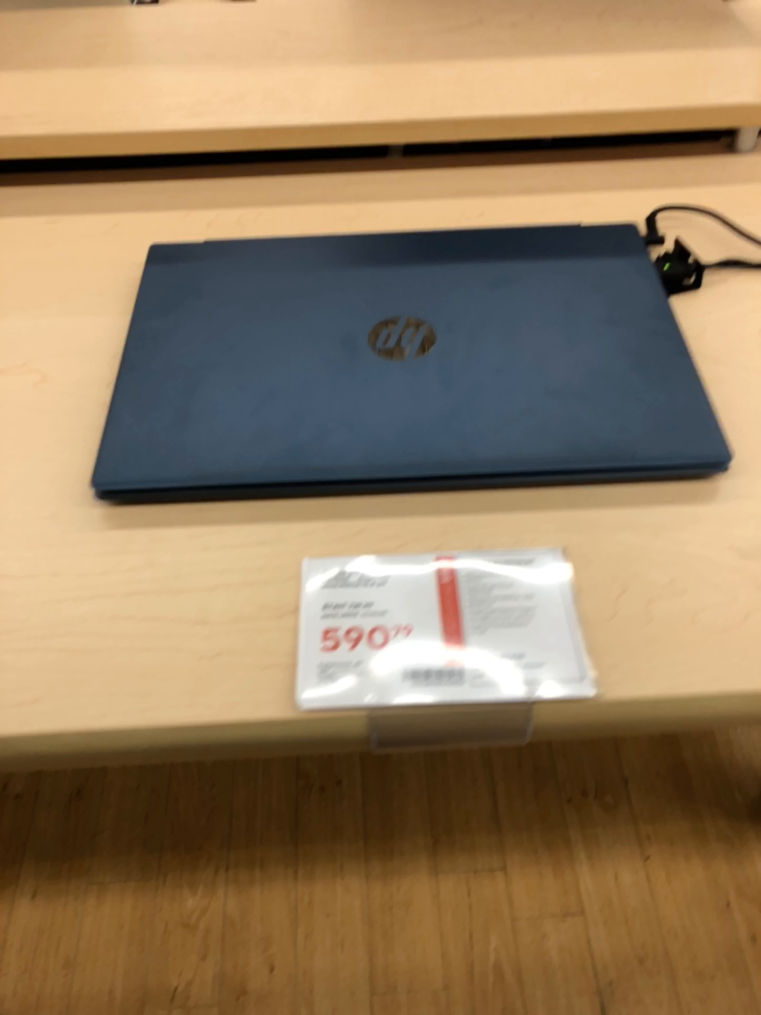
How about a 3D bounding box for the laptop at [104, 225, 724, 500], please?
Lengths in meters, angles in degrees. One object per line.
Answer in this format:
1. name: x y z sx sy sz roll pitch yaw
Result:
1. laptop: 0.012 -0.104 0.543 0.352 0.012 0.221 -3 54 1
